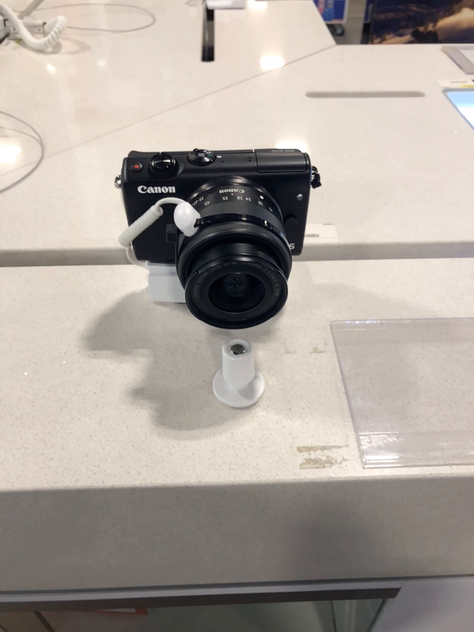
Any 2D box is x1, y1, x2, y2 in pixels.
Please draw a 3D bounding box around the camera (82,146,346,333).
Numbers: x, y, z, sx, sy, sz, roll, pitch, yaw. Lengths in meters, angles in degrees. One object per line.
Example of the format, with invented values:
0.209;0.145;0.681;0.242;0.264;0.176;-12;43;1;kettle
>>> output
-0.011;-0.045;0.292;0.120;0.060;0.091;-1;43;0;camera
